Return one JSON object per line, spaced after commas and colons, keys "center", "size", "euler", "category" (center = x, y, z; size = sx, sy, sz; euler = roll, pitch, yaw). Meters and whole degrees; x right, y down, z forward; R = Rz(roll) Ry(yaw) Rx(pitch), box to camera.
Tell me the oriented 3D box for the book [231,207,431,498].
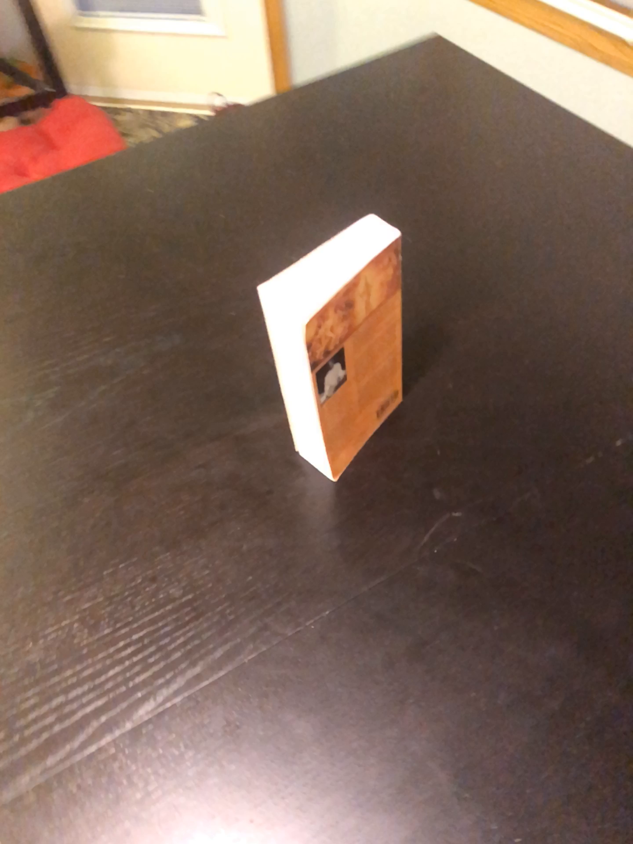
{"center": [0.020, -0.046, 0.525], "size": [0.126, 0.174, 0.059], "euler": [-38, 55, -22], "category": "book"}
